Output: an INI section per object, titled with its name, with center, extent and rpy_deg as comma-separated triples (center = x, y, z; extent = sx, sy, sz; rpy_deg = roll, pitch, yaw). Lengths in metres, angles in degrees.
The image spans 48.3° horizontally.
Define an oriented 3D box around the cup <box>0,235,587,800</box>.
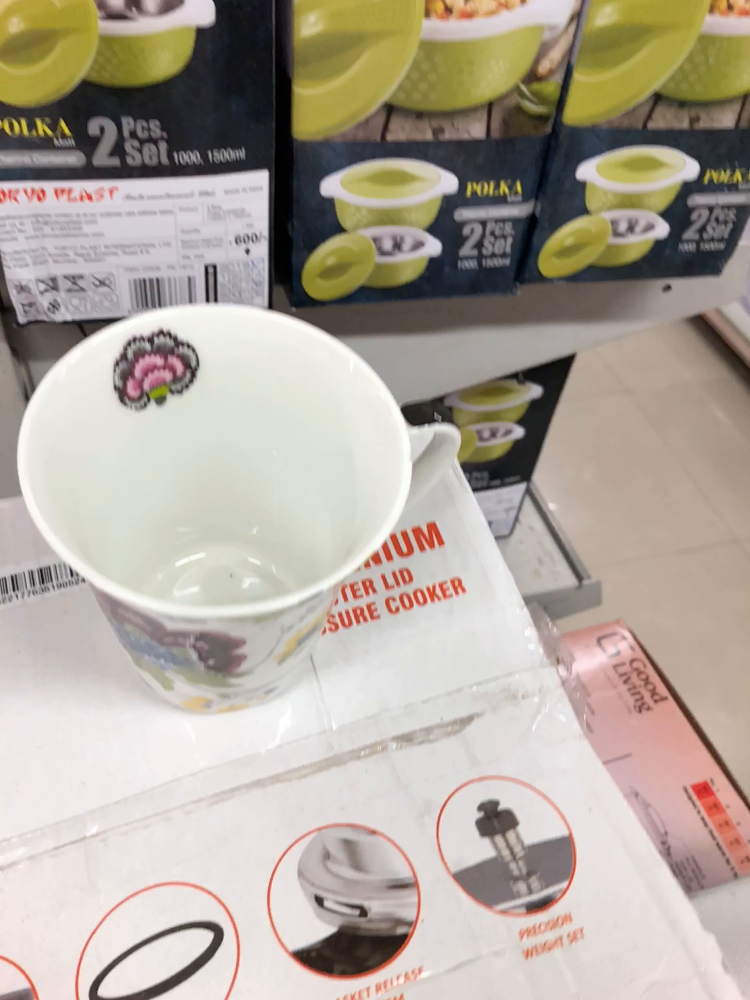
[cup]
center = -0.029, 0.003, 0.225
extent = 0.120, 0.090, 0.080
rpy_deg = -22, 64, -26
